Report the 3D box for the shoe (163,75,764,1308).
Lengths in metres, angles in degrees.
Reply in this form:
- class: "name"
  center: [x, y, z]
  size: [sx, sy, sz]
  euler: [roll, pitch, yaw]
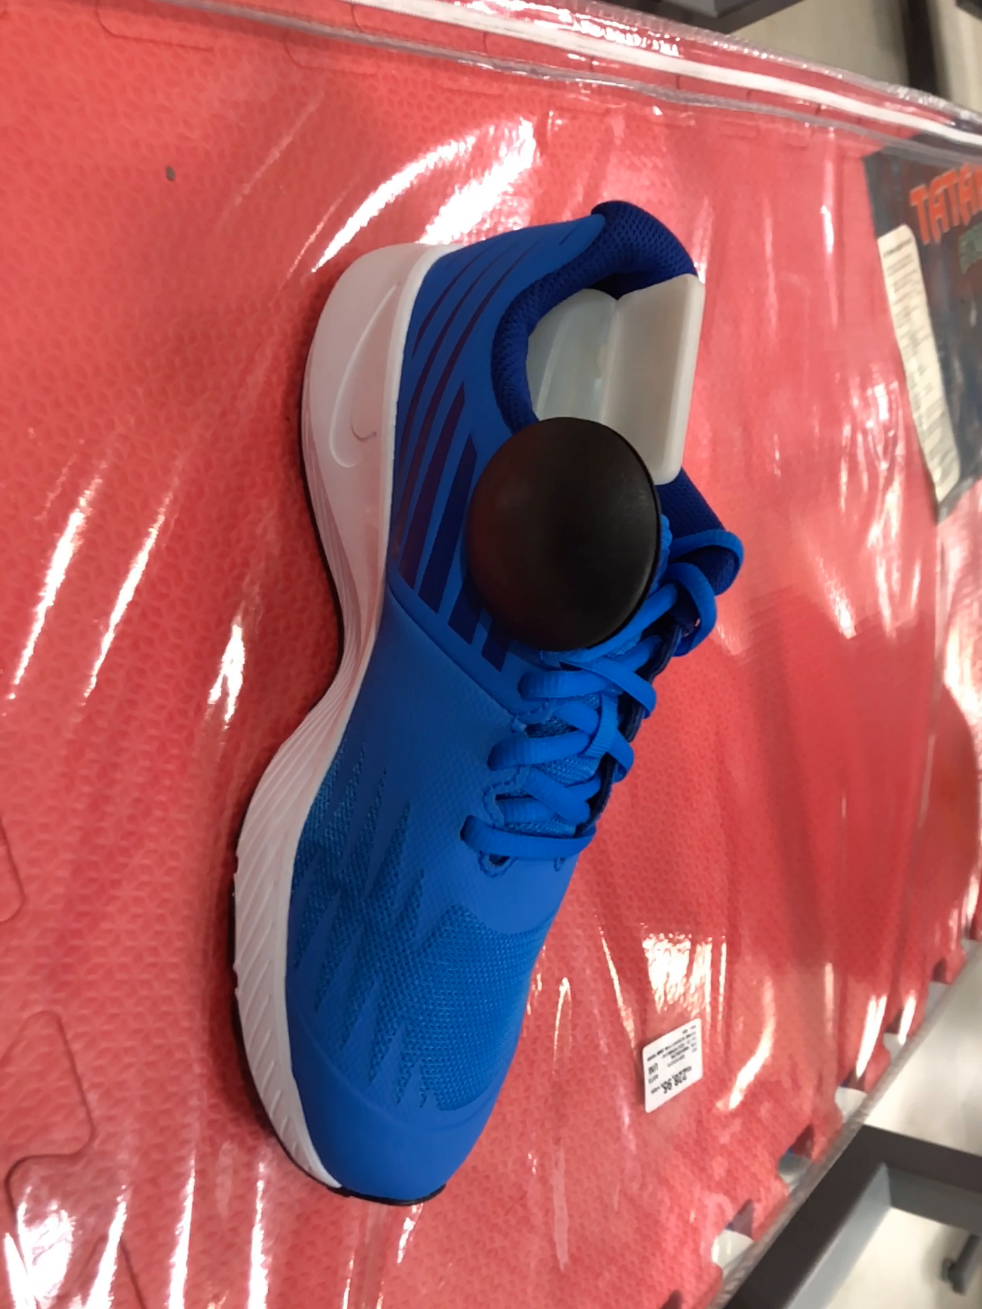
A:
- class: "shoe"
  center: [-0.001, 0.011, 0.307]
  size: [0.101, 0.099, 0.280]
  euler: [15, 77, -47]
